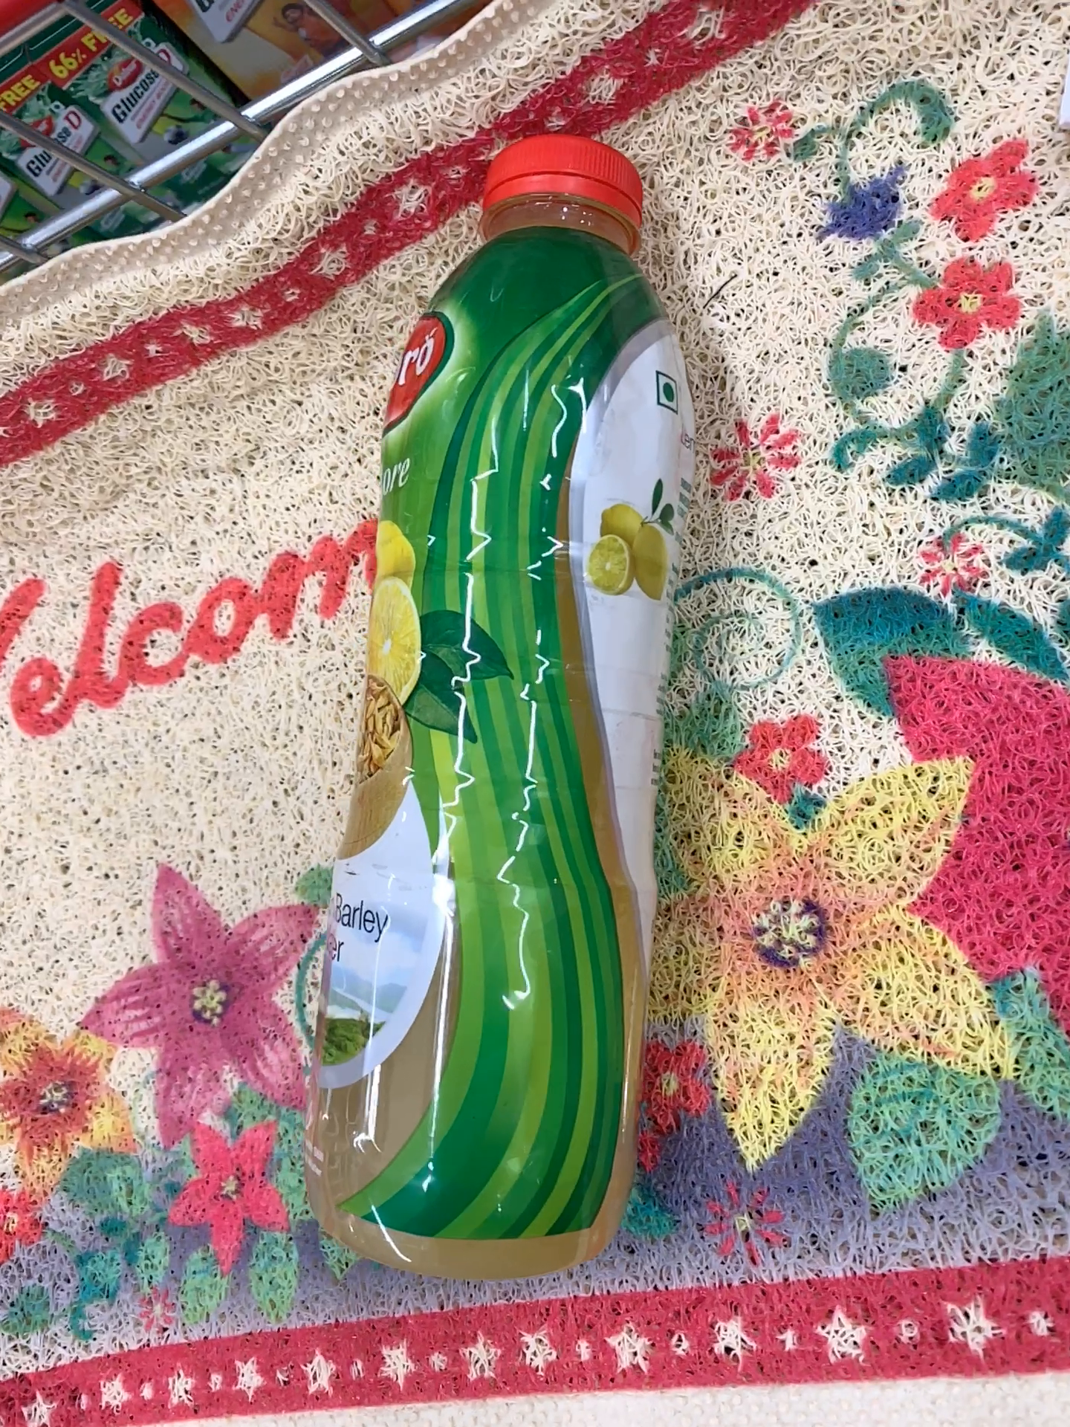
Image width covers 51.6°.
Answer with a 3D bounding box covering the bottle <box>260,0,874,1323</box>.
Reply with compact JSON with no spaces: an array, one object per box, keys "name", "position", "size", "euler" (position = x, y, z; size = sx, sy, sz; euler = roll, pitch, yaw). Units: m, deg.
[{"name":"bottle","position":[0.007,-0.018,0.264],"size":[0.080,0.090,0.270],"euler":[-3,79,60]}]
